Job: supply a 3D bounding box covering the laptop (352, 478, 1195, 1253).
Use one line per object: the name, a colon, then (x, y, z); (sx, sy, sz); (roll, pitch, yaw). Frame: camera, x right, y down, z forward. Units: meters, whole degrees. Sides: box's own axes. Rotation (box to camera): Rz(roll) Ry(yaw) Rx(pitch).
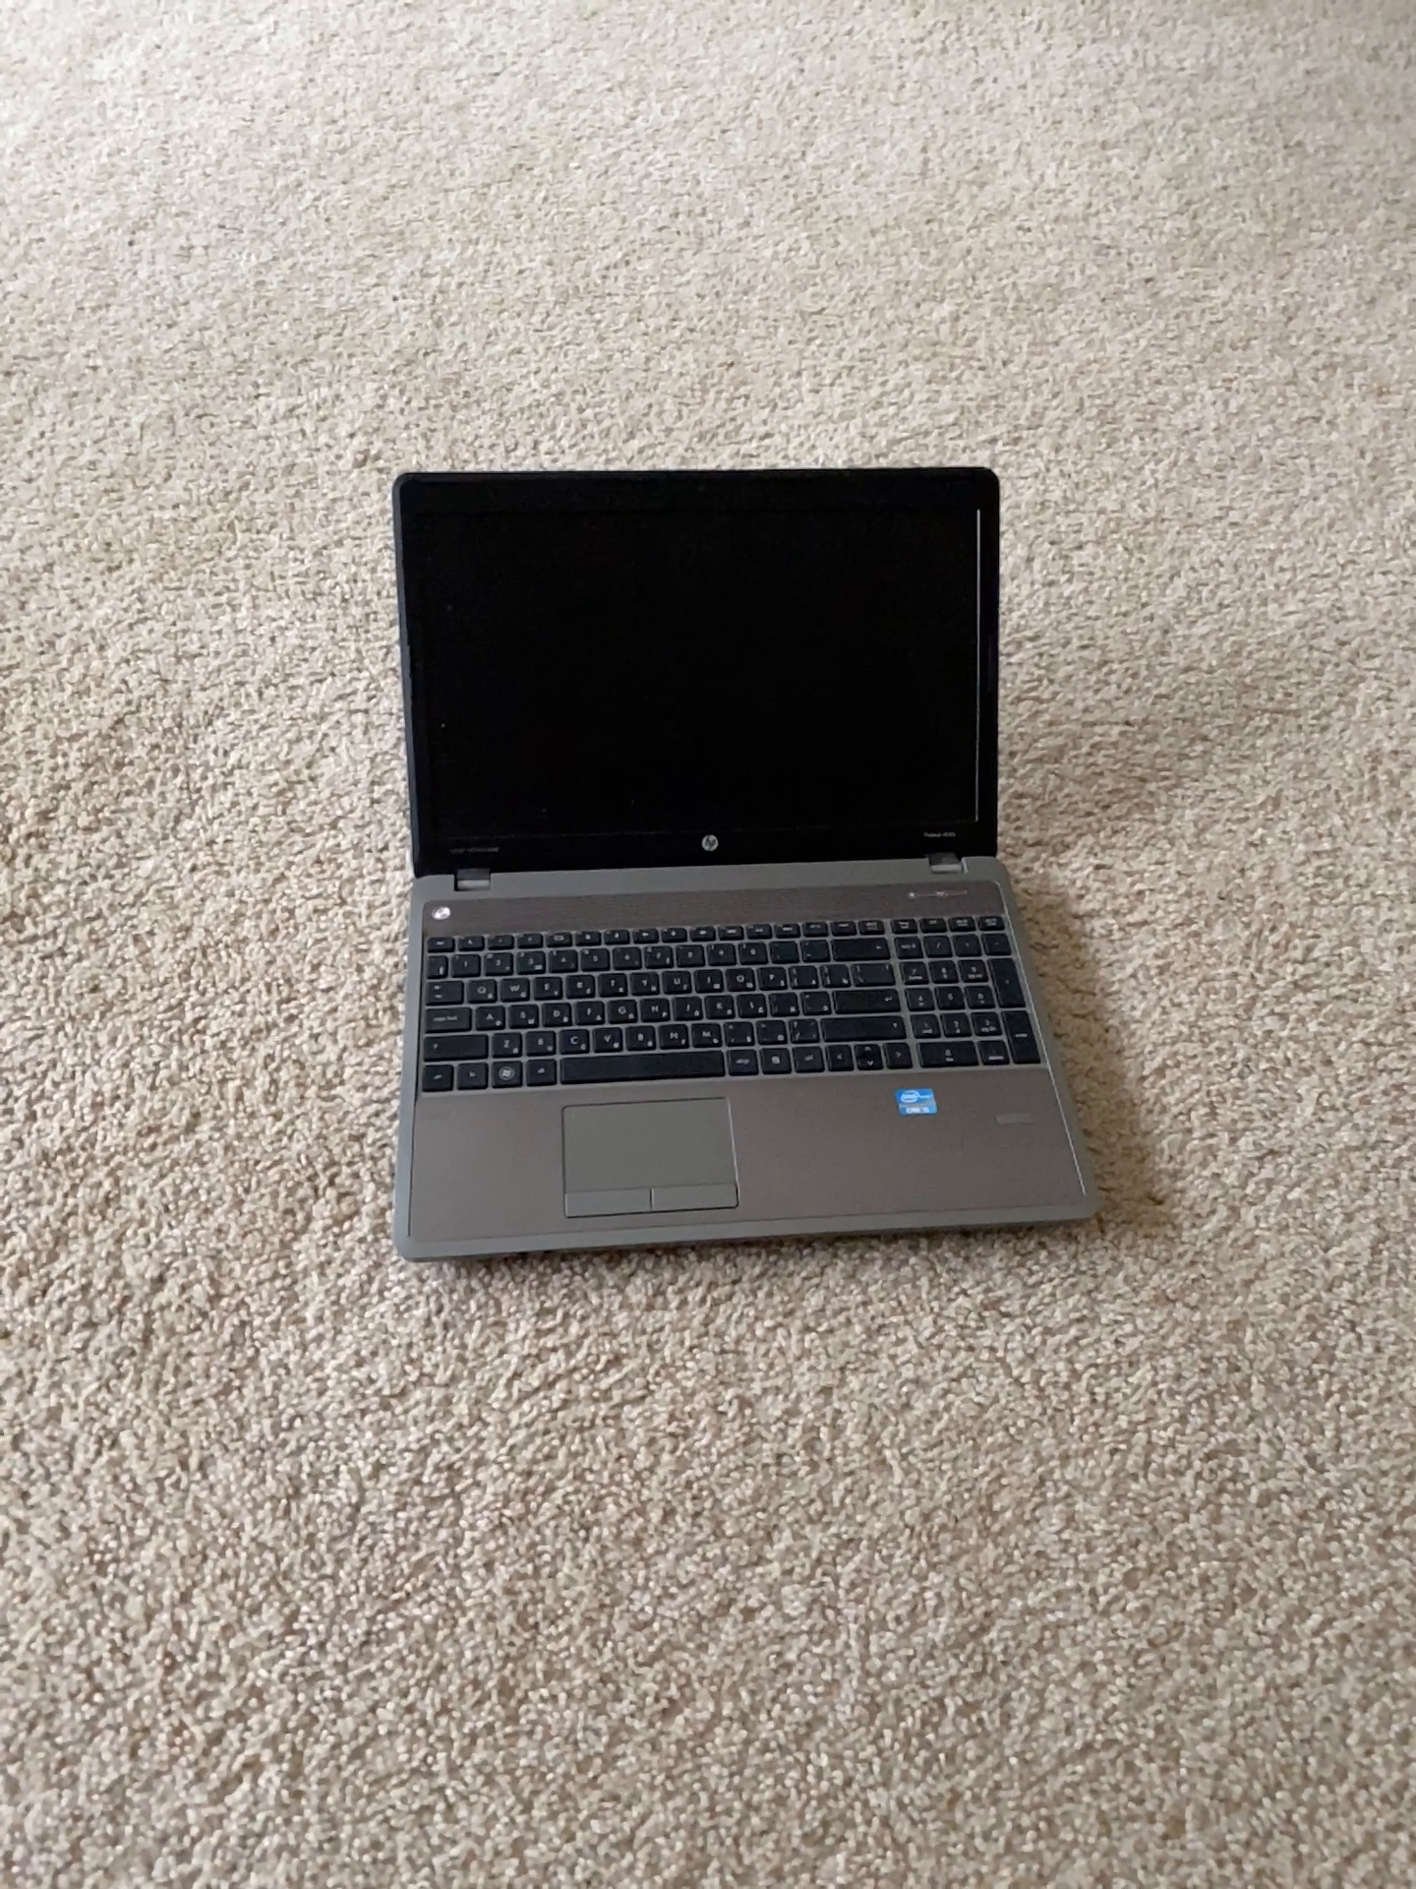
laptop: (0.012, -0.068, 0.829); (0.374, 0.162, 0.437); (-2, 53, -5)
